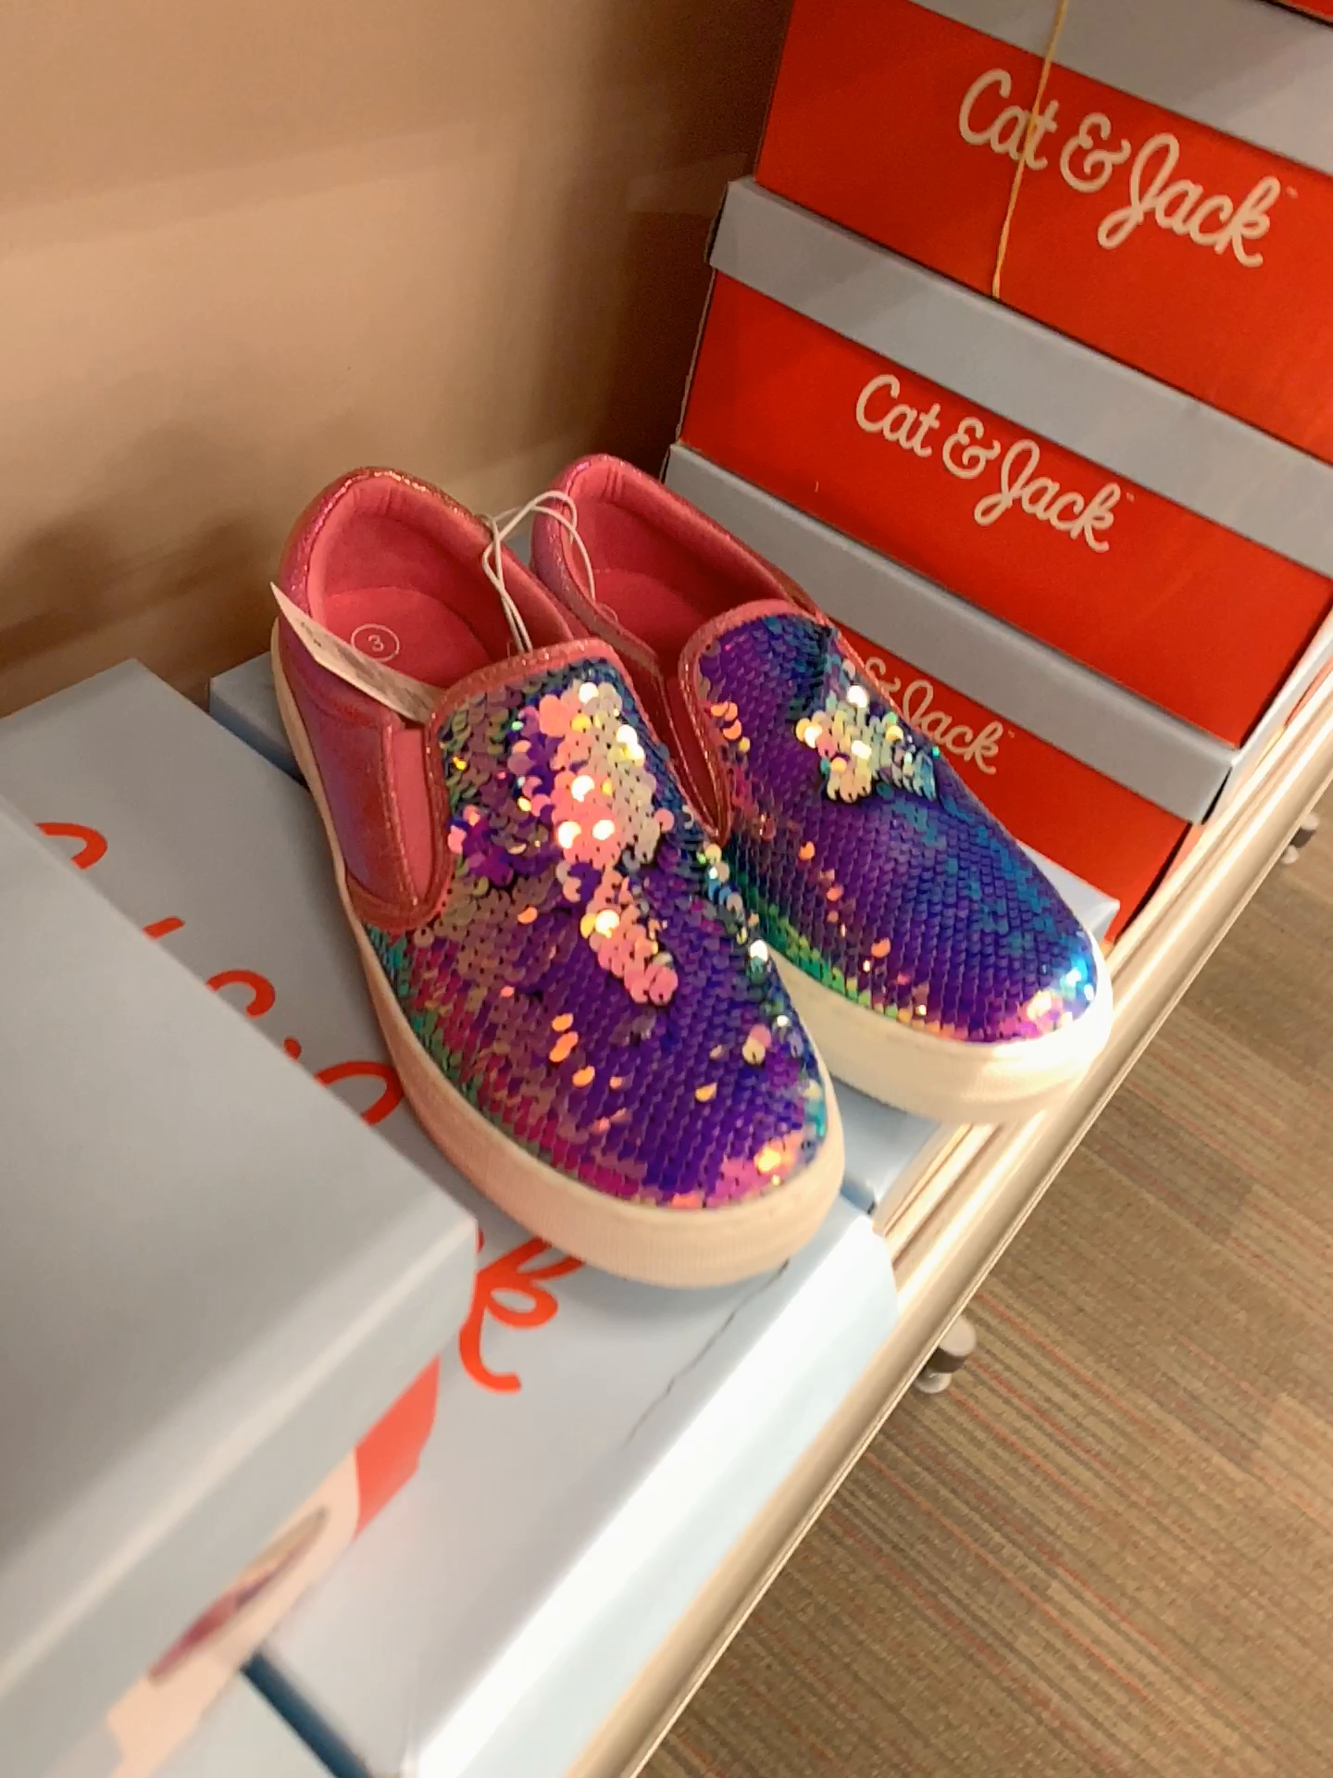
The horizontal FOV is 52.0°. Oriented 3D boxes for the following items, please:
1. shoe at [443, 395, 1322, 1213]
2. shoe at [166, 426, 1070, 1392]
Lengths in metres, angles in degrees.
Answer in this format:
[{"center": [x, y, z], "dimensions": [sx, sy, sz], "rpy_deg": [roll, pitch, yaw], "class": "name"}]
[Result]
[{"center": [0.042, -0.035, 0.358], "dimensions": [0.090, 0.074, 0.210], "rpy_deg": [-27, 60, -33], "class": "shoe"}, {"center": [-0.026, -0.013, 0.318], "dimensions": [0.100, 0.074, 0.211], "rpy_deg": [-20, 56, -29], "class": "shoe"}]
